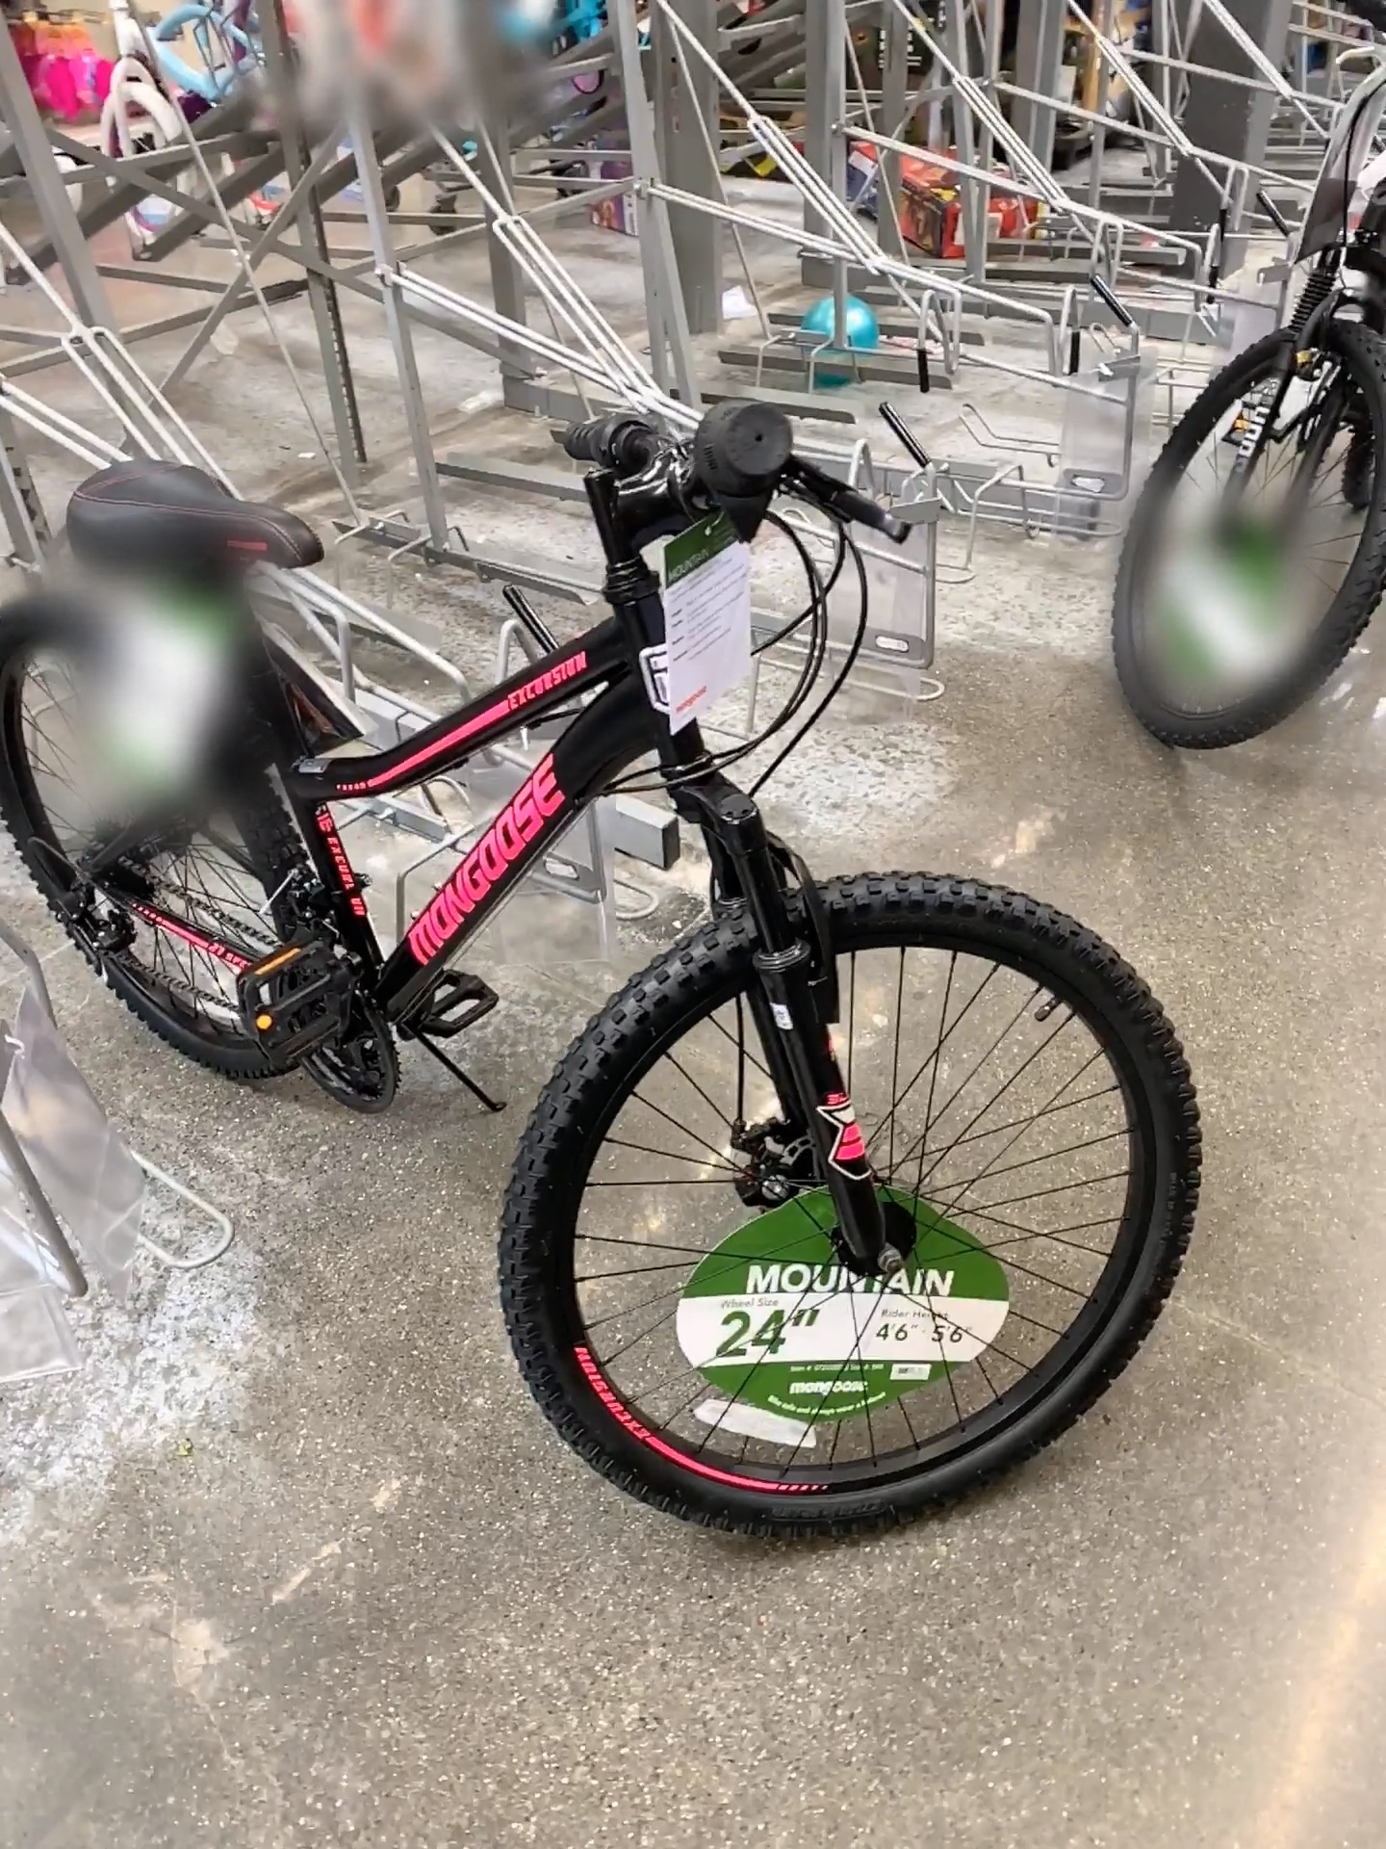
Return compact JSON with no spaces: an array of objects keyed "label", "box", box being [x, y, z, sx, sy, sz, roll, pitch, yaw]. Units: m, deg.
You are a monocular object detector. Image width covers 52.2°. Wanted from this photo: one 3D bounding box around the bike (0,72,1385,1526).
[{"label":"bike","box":[-0.233,-0.193,1.359,1.401,0.963,0.642,14,41,23]}]
